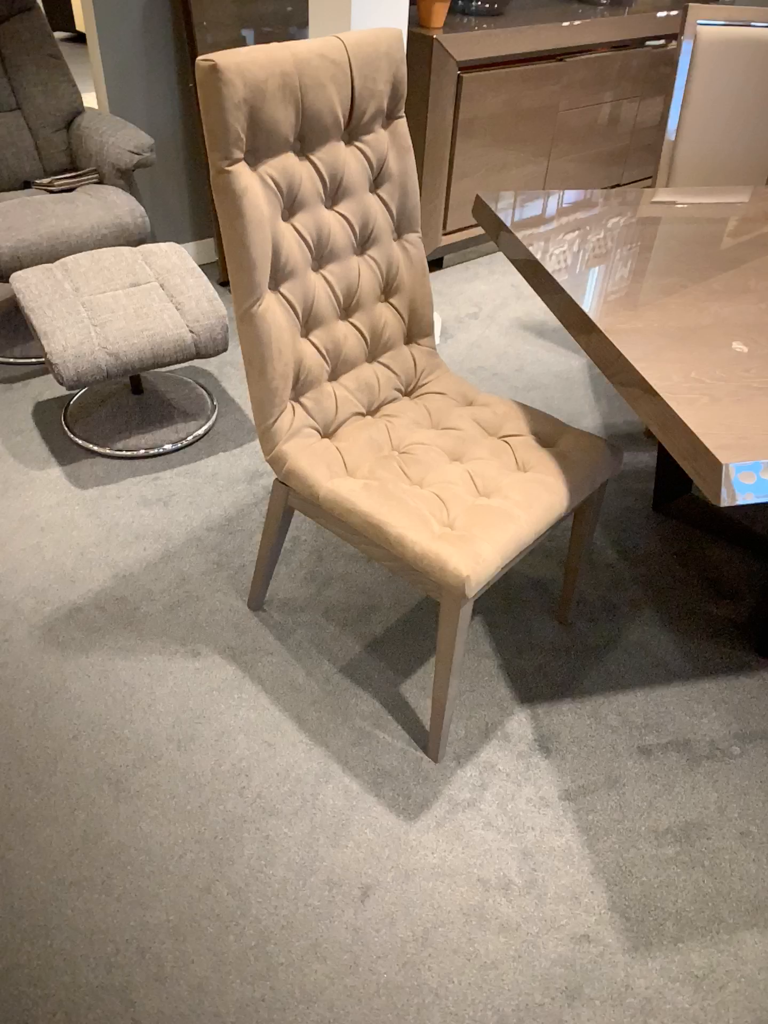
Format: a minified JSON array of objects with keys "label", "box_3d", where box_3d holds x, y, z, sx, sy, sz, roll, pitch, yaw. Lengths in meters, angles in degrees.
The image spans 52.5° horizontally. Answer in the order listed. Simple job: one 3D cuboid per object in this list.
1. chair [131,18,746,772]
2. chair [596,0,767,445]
[{"label":"chair","box_3d":[0.050,-0.202,1.362,0.639,1.021,0.526,30,46,29]},{"label":"chair","box_3d":[1.048,-0.810,2.240,0.523,1.021,0.642,2,39,-1]}]
